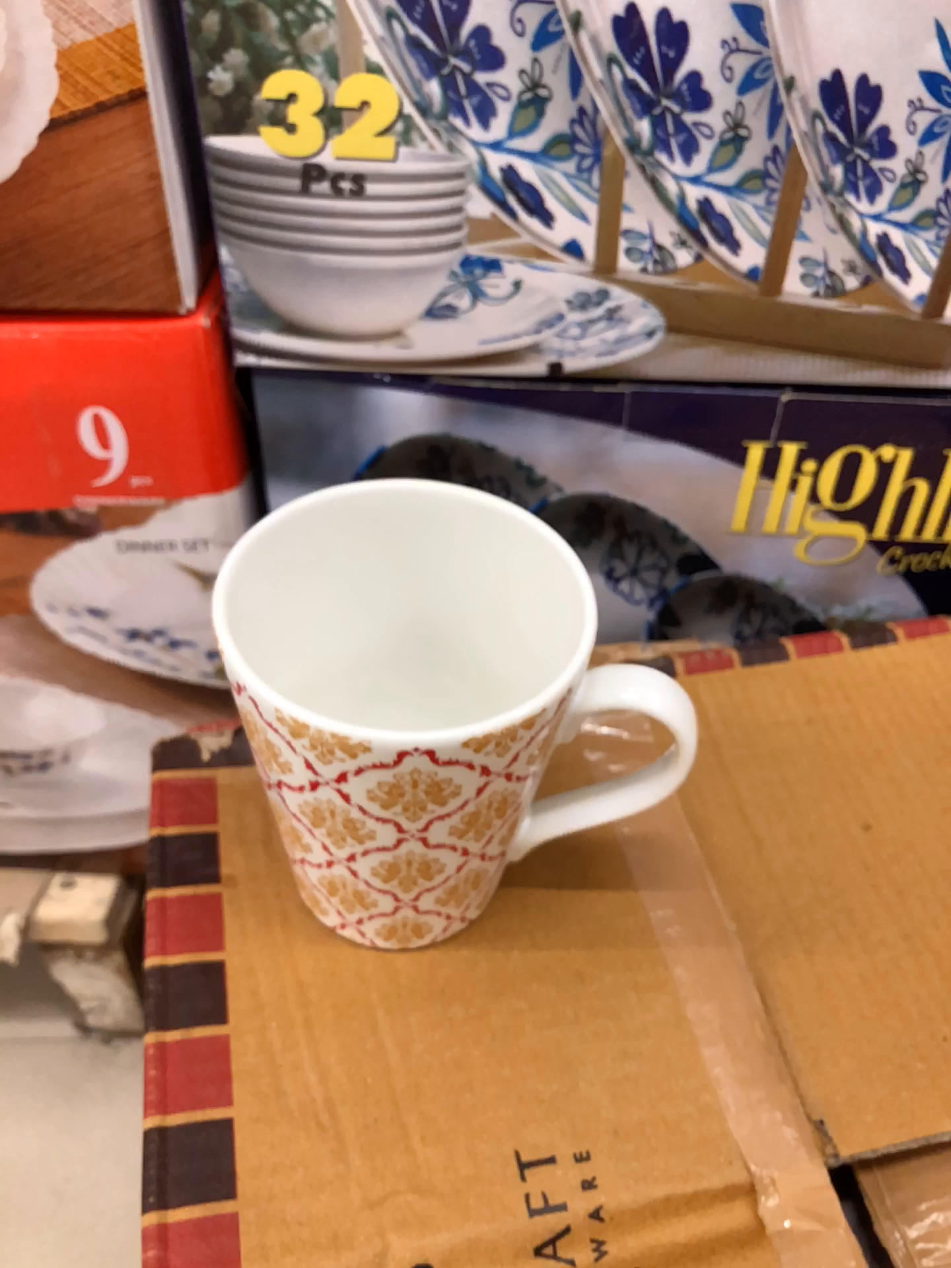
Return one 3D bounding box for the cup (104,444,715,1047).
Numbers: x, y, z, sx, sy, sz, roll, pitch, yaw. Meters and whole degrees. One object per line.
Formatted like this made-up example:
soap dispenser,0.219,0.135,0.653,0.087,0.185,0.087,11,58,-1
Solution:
cup,-0.007,0.024,0.255,0.110,0.089,0.091,8,43,8
